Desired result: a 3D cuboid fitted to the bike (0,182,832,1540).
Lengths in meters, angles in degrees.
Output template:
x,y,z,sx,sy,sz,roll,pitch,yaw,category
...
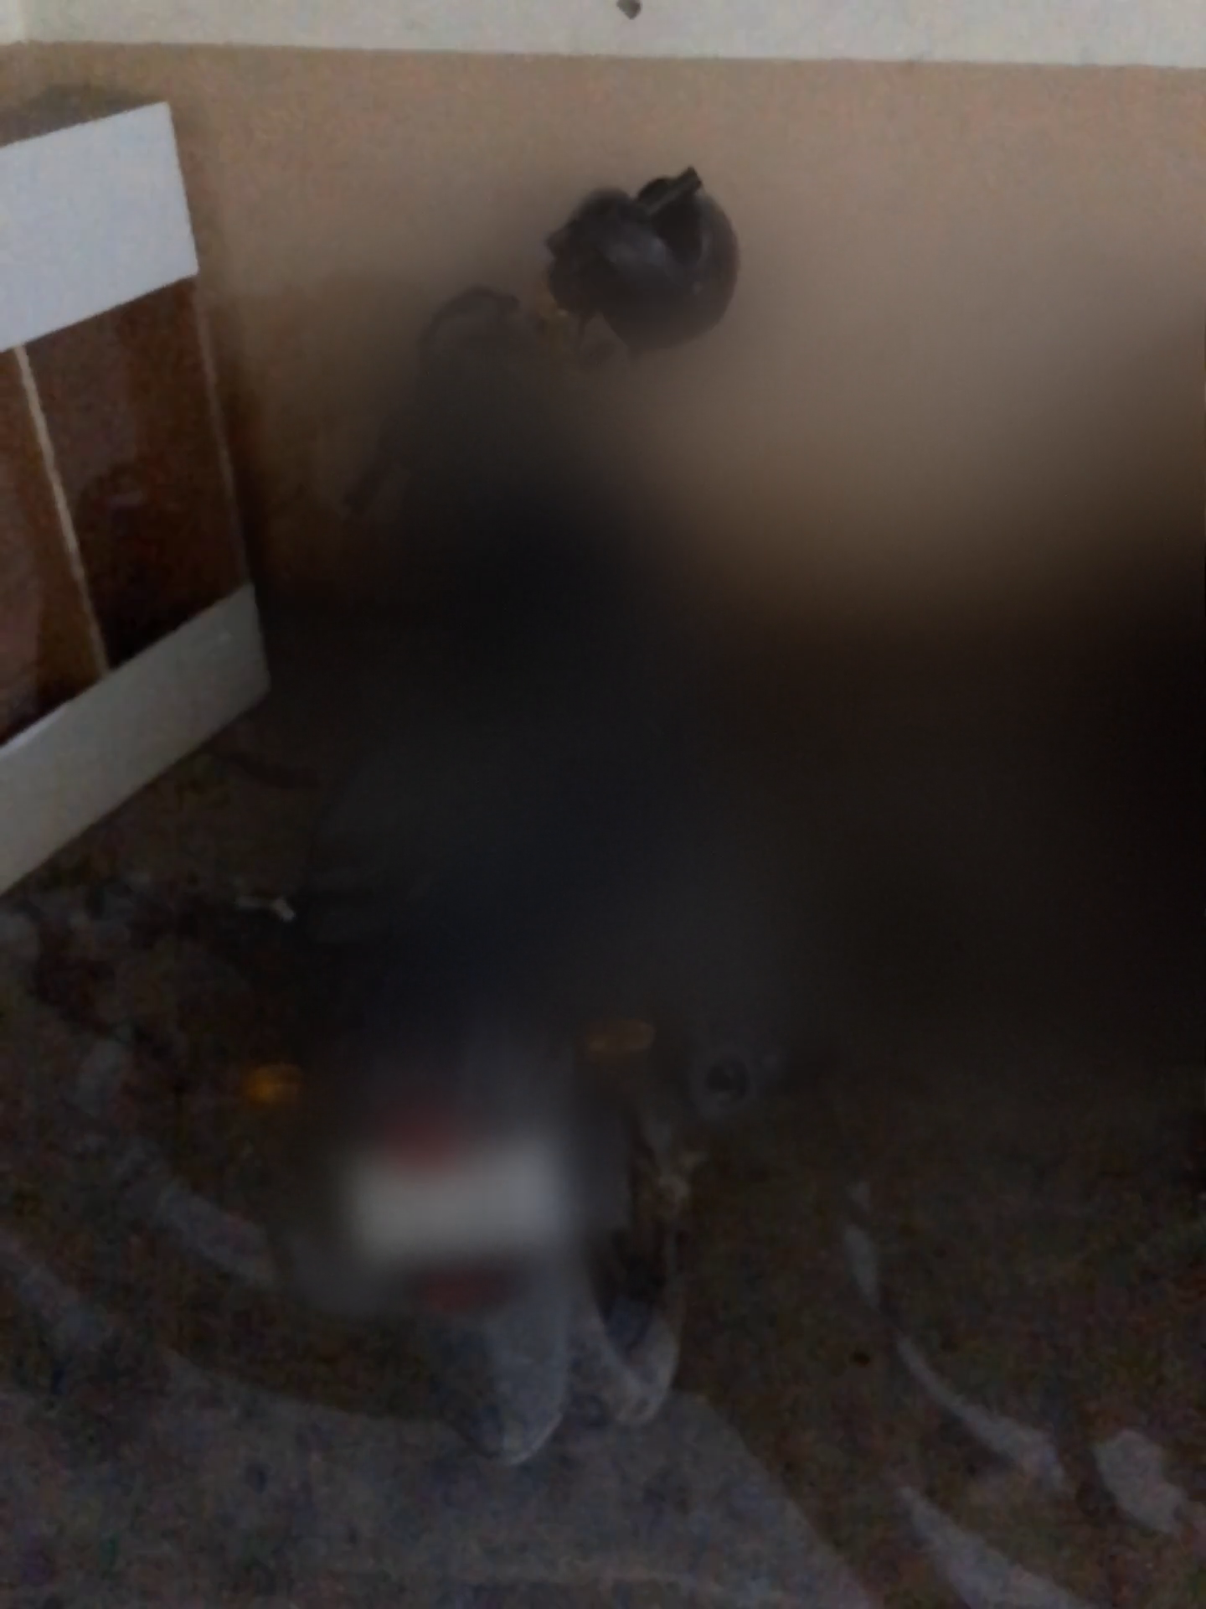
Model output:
x,y,z,sx,sy,sz,roll,pitch,yaw,category
-0.183,-0.086,1.957,0.717,1.179,1.712,1,37,1,bike
